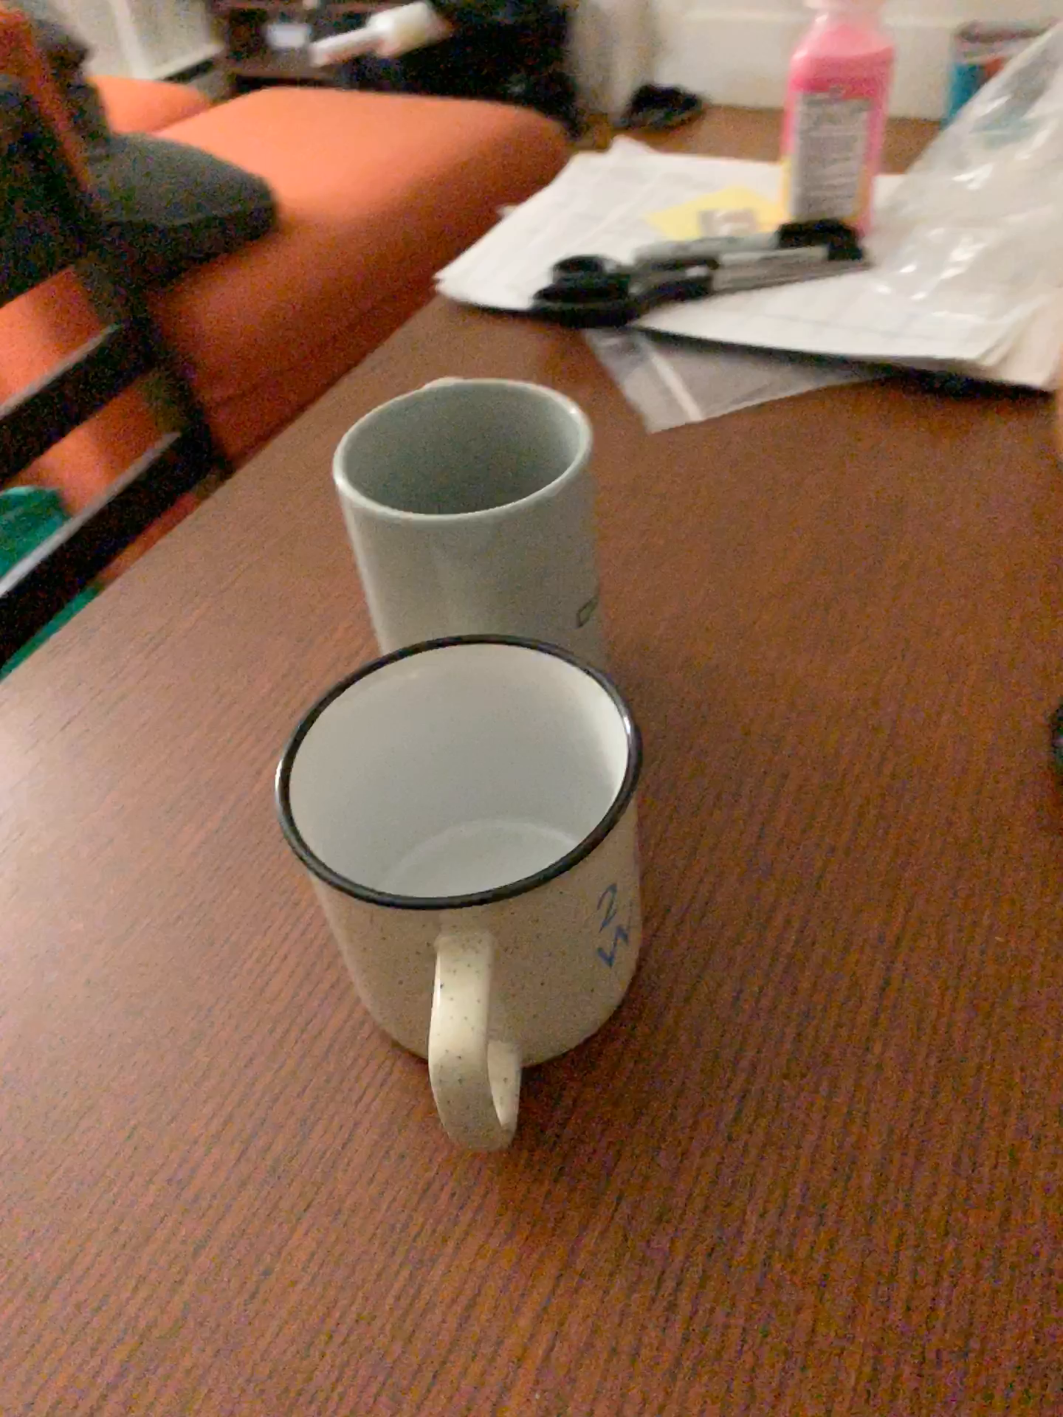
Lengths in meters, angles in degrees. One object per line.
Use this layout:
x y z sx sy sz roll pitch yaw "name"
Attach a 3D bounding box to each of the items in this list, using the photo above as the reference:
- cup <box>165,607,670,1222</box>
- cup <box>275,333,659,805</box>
-0.016 0.053 0.312 0.100 0.099 0.131 2 45 10 "cup"
-0.010 -0.054 0.395 0.100 0.099 0.141 2 45 10 "cup"
